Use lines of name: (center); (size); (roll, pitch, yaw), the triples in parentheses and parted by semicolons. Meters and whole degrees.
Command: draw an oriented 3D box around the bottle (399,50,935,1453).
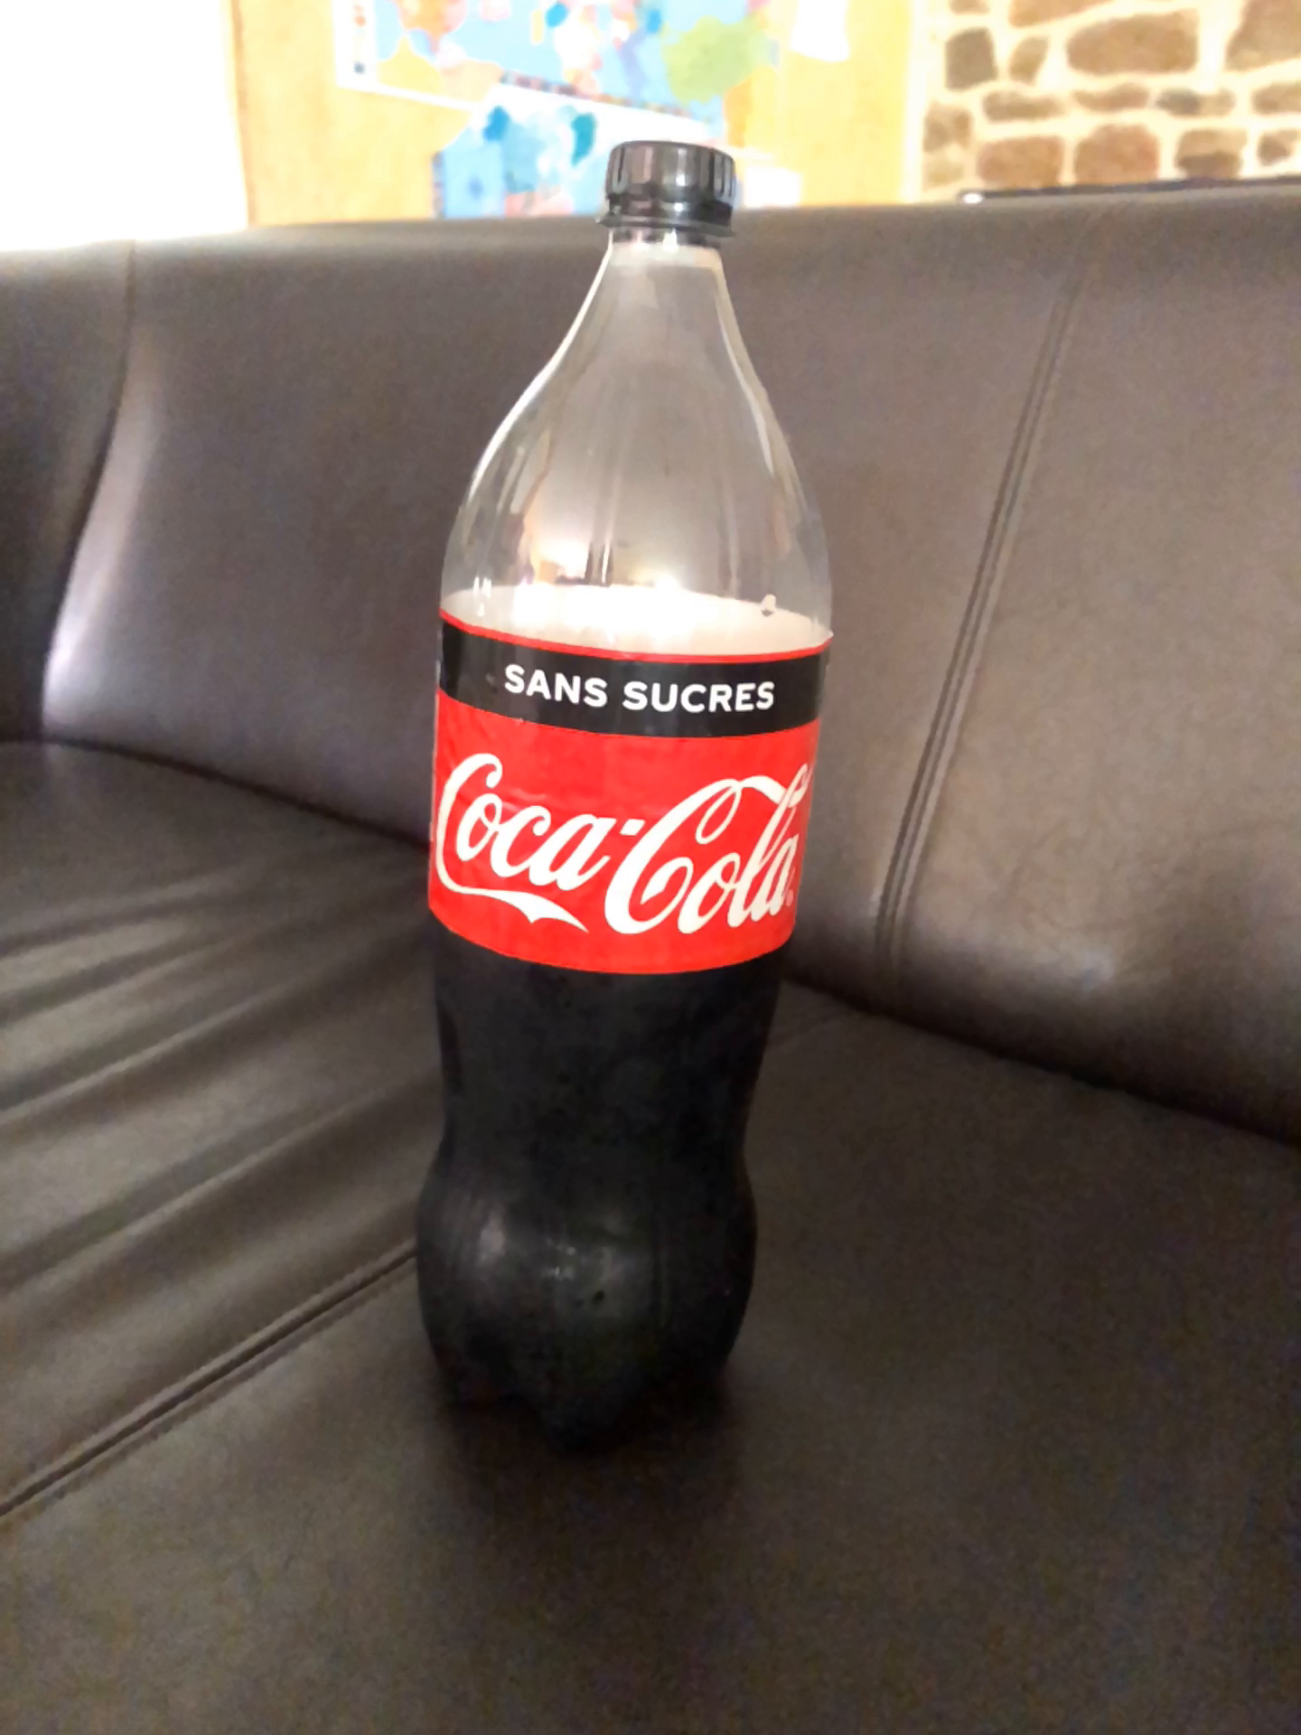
bottle: (-0.009, -0.016, 0.369); (0.100, 0.318, 0.100); (3, 19, -1)
